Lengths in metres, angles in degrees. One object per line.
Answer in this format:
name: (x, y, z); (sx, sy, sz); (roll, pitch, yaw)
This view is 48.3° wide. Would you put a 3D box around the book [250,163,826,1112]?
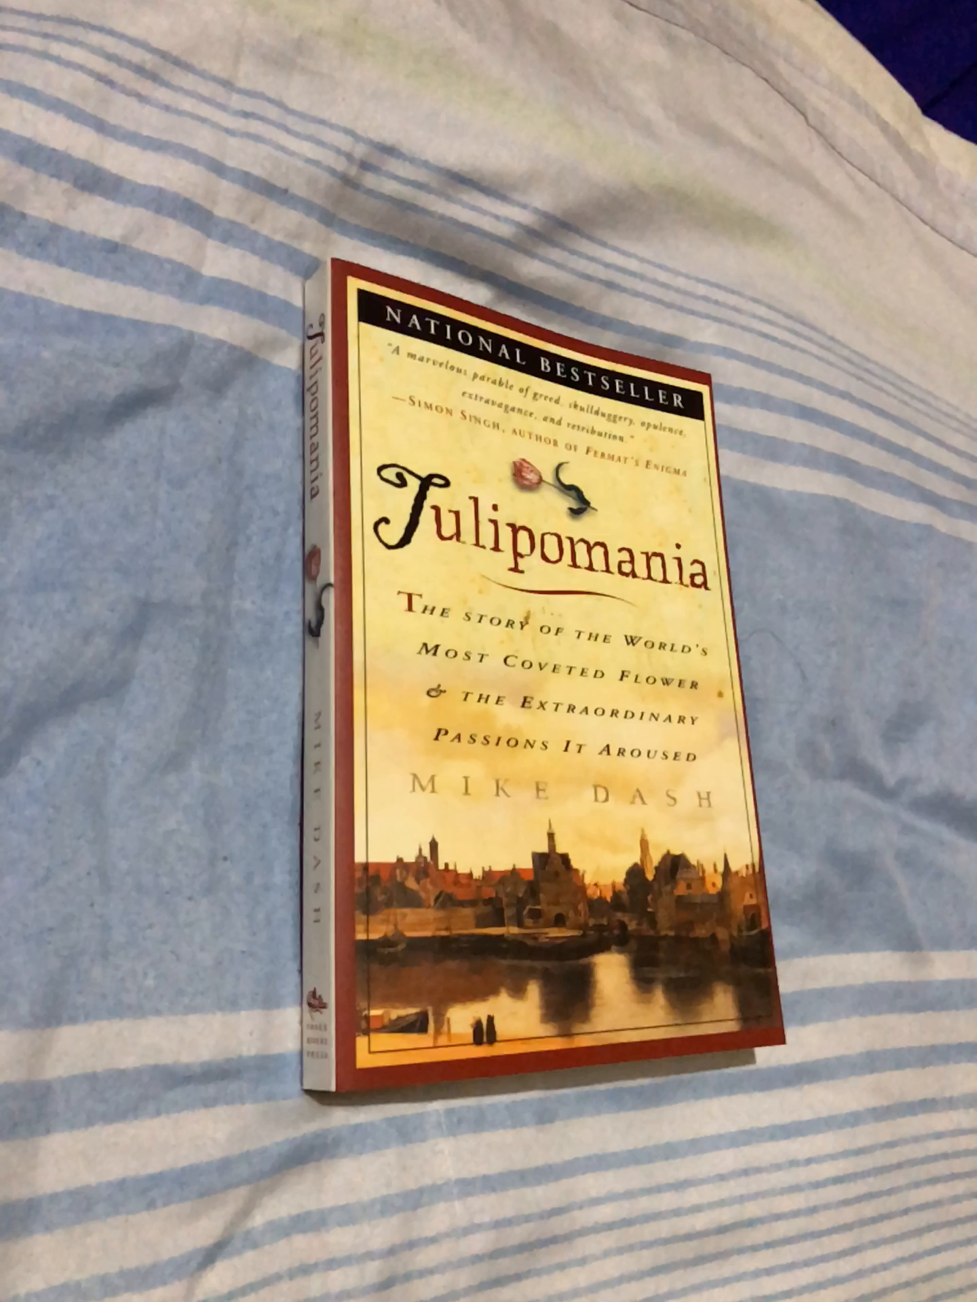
book: (0.009, -0.003, 0.306); (0.141, 0.050, 0.230); (8, 69, -32)
